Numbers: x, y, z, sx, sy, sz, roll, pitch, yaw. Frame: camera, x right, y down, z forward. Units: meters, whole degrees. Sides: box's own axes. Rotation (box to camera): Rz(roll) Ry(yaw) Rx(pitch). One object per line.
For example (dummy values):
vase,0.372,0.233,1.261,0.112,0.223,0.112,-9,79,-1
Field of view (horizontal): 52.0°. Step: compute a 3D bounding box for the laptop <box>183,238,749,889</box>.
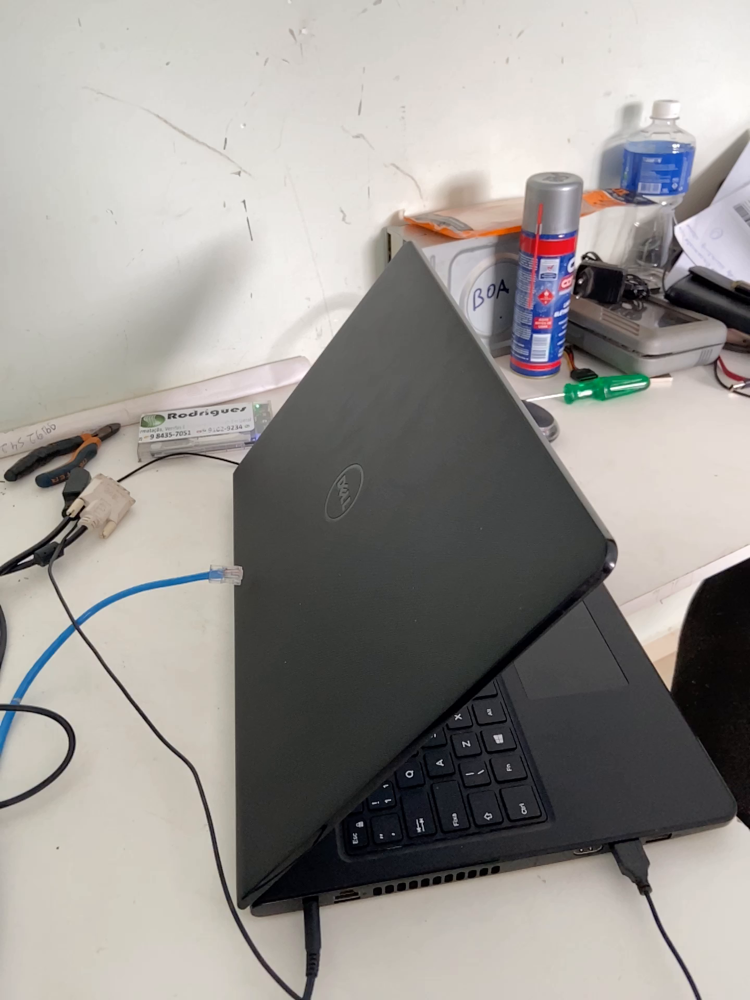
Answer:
laptop,0.028,-0.007,0.492,0.255,0.192,0.374,-8,35,-7
